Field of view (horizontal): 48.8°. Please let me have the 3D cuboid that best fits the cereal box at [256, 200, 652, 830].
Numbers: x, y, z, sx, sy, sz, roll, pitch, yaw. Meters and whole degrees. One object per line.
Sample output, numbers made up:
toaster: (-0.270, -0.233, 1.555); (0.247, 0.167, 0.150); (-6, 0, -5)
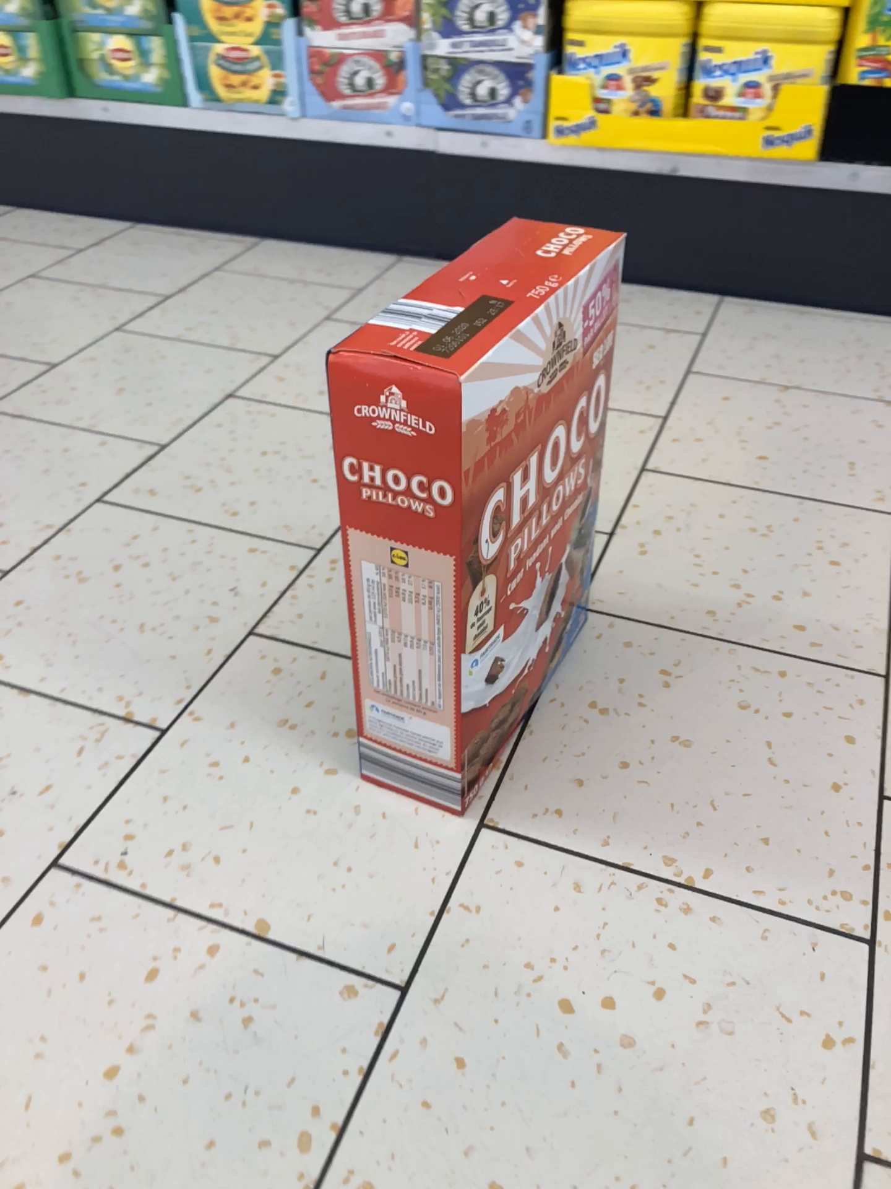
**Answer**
cereal box: (0.017, -0.048, 0.508); (0.090, 0.238, 0.211); (17, 40, 22)
